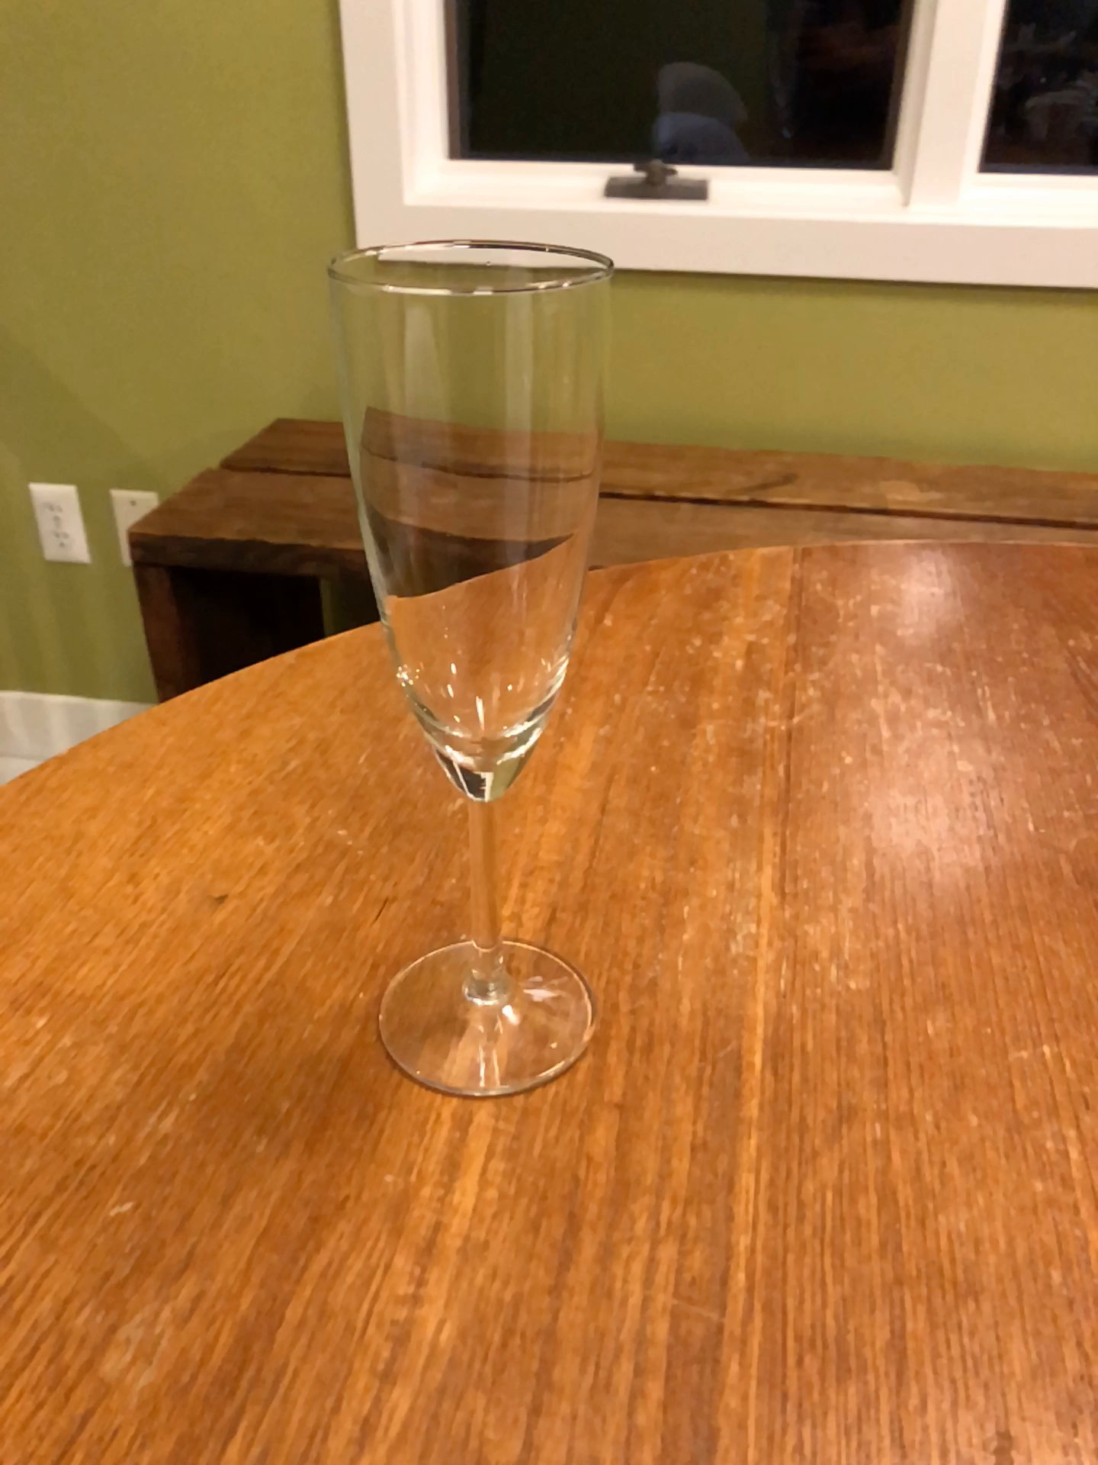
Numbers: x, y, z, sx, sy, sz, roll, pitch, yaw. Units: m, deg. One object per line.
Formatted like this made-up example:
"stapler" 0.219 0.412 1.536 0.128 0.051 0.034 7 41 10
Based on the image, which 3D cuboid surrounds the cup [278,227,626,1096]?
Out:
"cup" -0.019 -0.011 0.316 0.066 0.215 0.074 0 30 0
